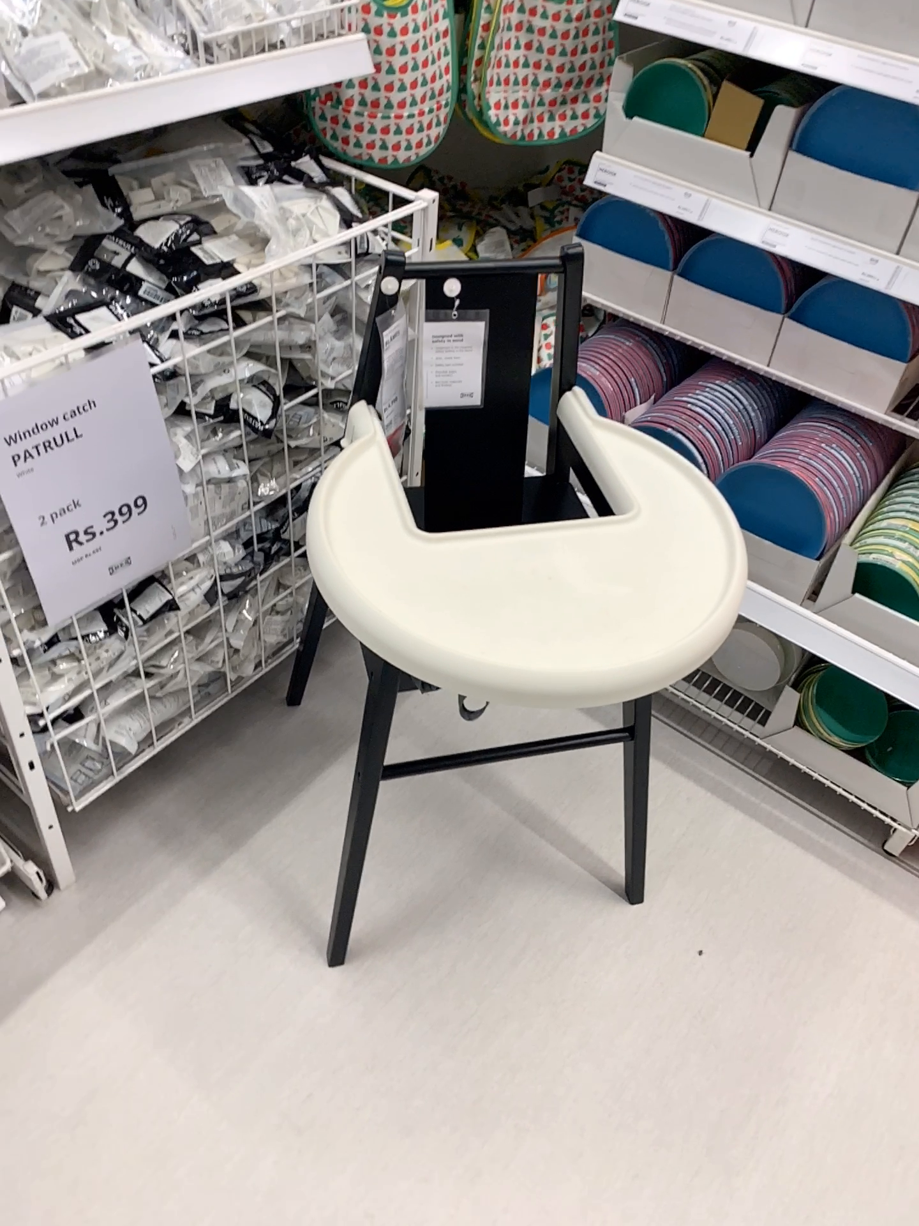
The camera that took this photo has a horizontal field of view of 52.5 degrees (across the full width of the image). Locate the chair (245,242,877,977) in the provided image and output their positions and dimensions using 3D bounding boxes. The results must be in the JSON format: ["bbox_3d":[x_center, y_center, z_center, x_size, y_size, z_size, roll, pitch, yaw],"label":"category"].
[{"bbox_3d":[0.030,0.003,1.262,0.530,0.777,0.552,-6,46,-14],"label":"chair"}]
